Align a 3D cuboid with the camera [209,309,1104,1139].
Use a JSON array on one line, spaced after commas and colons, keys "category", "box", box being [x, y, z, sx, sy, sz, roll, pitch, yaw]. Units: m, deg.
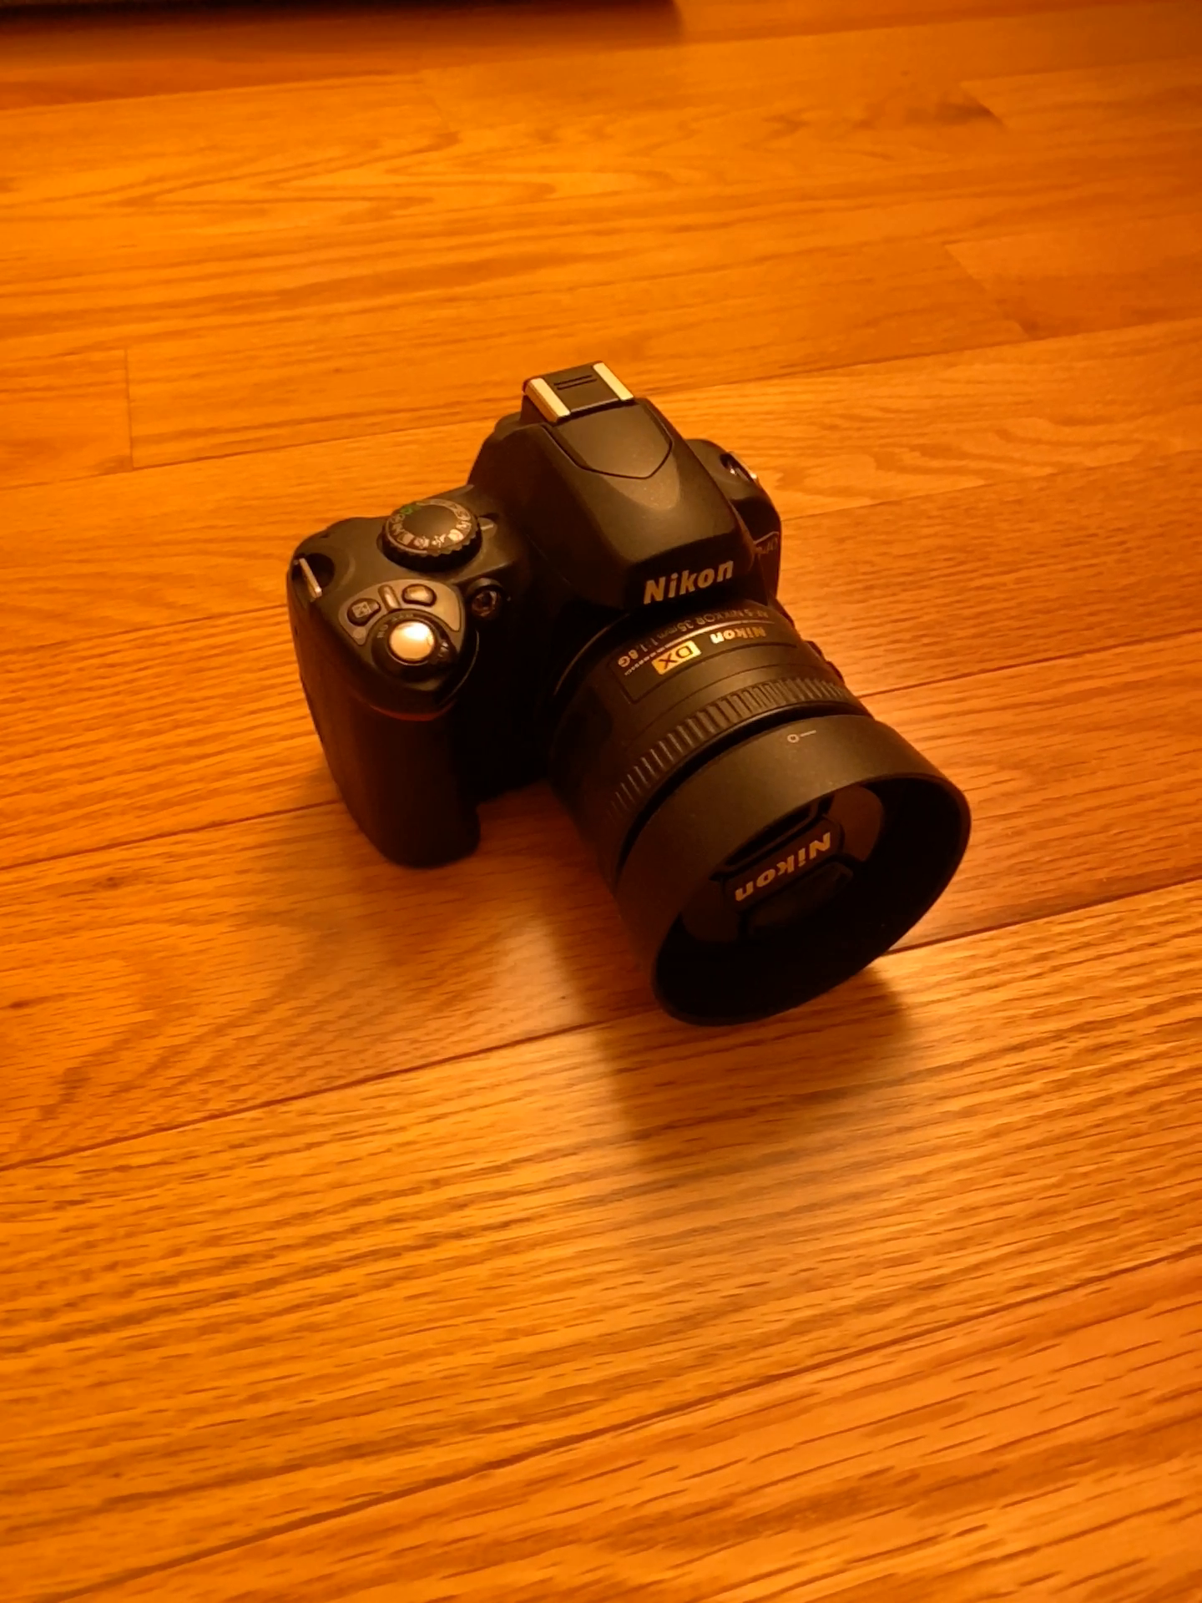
[{"category": "camera", "box": [0.003, -0.027, 0.278, 0.130, 0.080, 0.141, -19, 52, -16]}]
